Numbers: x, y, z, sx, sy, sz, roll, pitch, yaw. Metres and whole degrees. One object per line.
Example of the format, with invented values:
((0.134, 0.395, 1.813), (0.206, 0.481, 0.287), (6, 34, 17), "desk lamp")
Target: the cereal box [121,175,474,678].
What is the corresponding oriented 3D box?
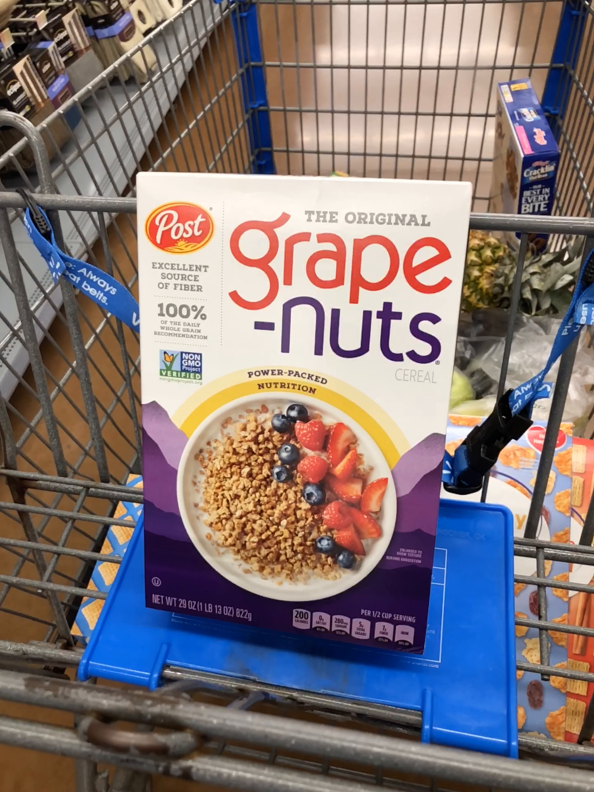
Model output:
((-0.006, 0.015, 0.362), (0.170, 0.250, 0.050), (6, 14, 11), "cereal box")
